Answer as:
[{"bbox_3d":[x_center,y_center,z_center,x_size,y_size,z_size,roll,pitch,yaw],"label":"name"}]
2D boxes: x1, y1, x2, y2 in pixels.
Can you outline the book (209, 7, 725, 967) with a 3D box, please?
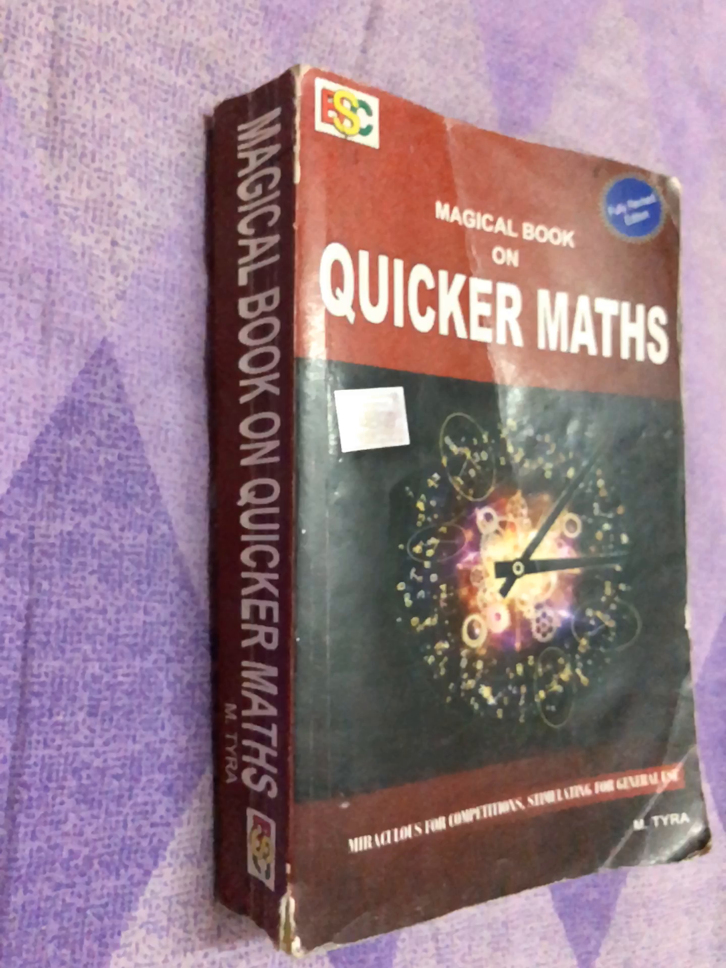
[{"bbox_3d":[0.037,0.005,0.237,0.151,0.050,0.220,2,85,-30],"label":"book"}]
